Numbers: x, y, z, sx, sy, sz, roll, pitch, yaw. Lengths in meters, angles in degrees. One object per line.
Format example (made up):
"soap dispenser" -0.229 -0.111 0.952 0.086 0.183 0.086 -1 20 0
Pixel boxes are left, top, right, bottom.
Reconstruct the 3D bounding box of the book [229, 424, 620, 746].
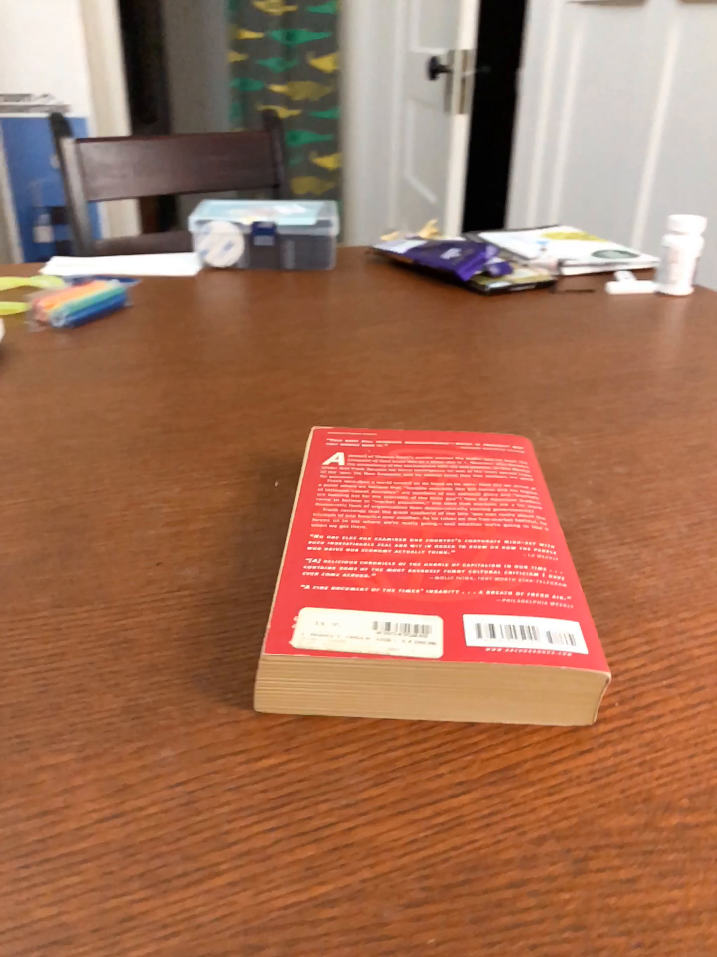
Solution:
"book" 0.027 0.034 0.384 0.140 0.030 0.211 2 28 2
